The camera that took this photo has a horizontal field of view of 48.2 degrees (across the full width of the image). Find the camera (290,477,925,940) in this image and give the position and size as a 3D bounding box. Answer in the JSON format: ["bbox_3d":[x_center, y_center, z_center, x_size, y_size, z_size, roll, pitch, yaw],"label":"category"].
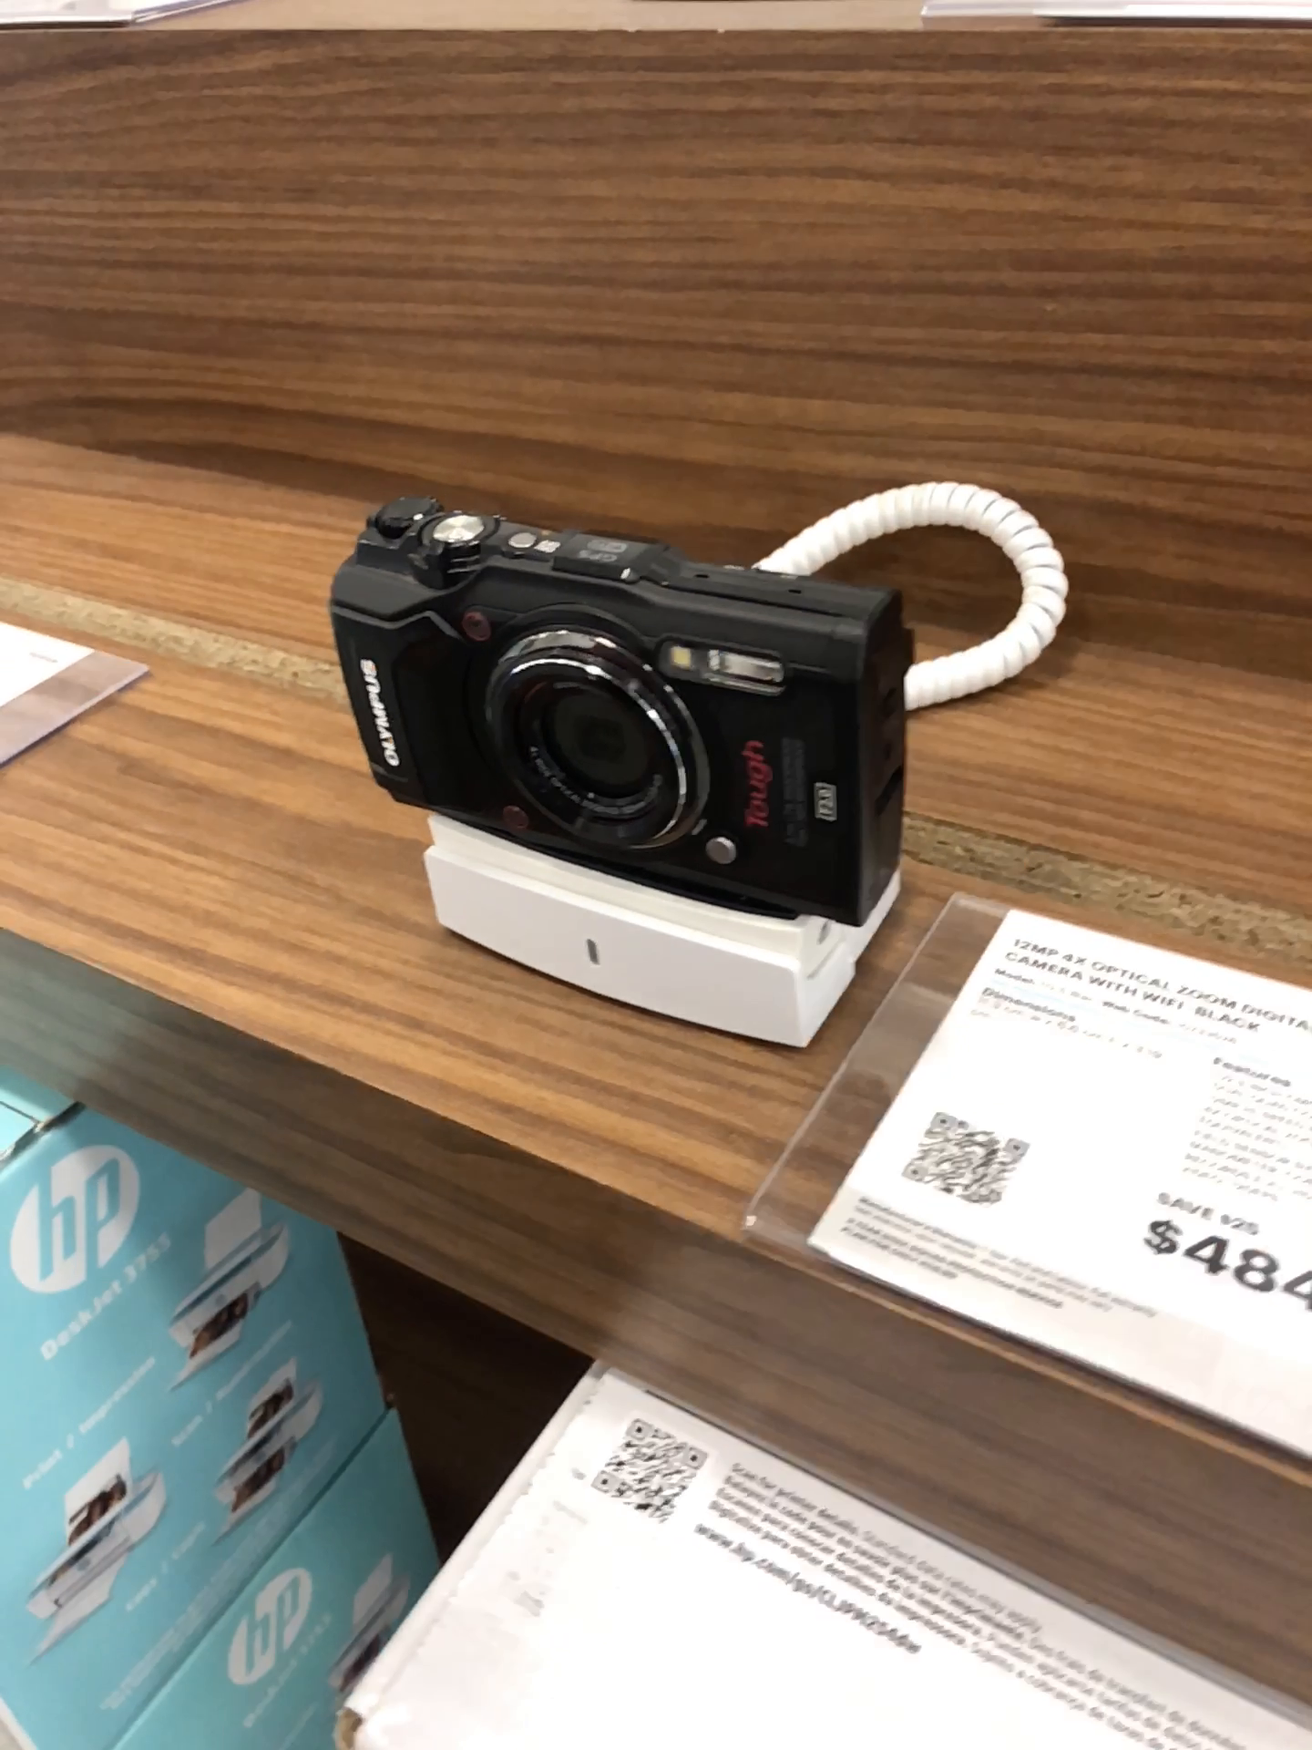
[{"bbox_3d":[-0.011,-0.036,0.287,0.120,0.060,0.030,17,41,27],"label":"camera"}]
